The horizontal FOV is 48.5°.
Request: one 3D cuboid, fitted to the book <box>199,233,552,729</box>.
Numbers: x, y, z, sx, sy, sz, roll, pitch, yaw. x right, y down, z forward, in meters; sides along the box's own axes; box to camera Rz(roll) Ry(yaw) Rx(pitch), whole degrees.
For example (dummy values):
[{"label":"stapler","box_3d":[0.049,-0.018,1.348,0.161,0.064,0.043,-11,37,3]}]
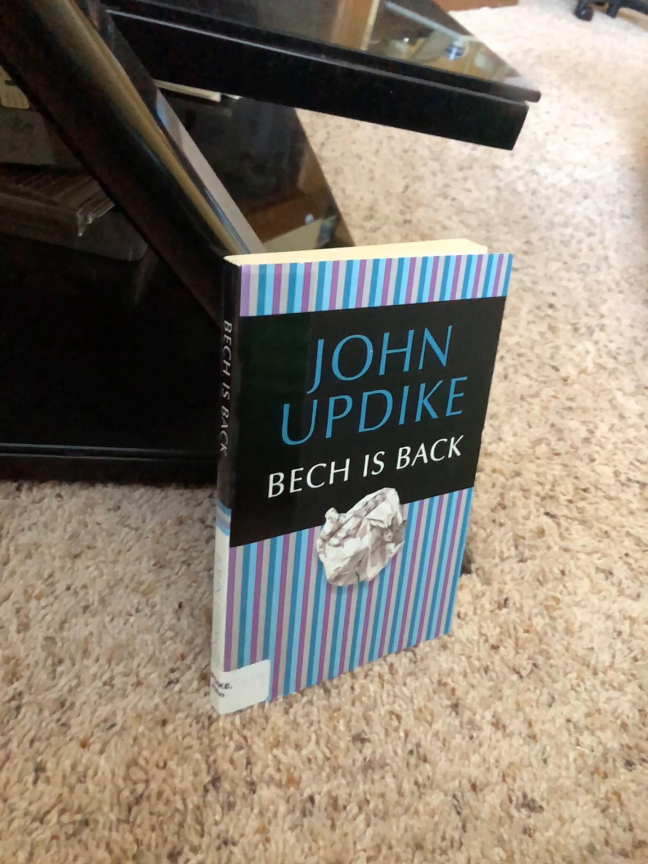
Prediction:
[{"label":"book","box_3d":[0.017,0.021,0.311,0.135,0.201,0.030,-12,33,-32]}]
